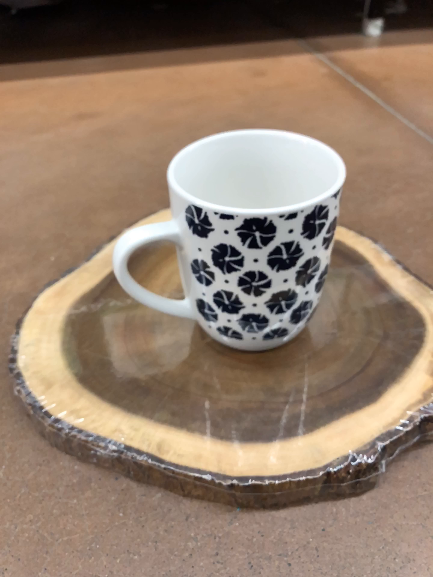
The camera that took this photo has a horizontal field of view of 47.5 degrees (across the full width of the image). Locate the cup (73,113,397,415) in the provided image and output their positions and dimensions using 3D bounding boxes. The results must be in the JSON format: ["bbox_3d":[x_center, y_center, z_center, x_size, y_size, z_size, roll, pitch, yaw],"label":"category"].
[{"bbox_3d":[0.008,-0.020,0.271,0.130,0.100,0.090,-20,43,-21],"label":"cup"}]
